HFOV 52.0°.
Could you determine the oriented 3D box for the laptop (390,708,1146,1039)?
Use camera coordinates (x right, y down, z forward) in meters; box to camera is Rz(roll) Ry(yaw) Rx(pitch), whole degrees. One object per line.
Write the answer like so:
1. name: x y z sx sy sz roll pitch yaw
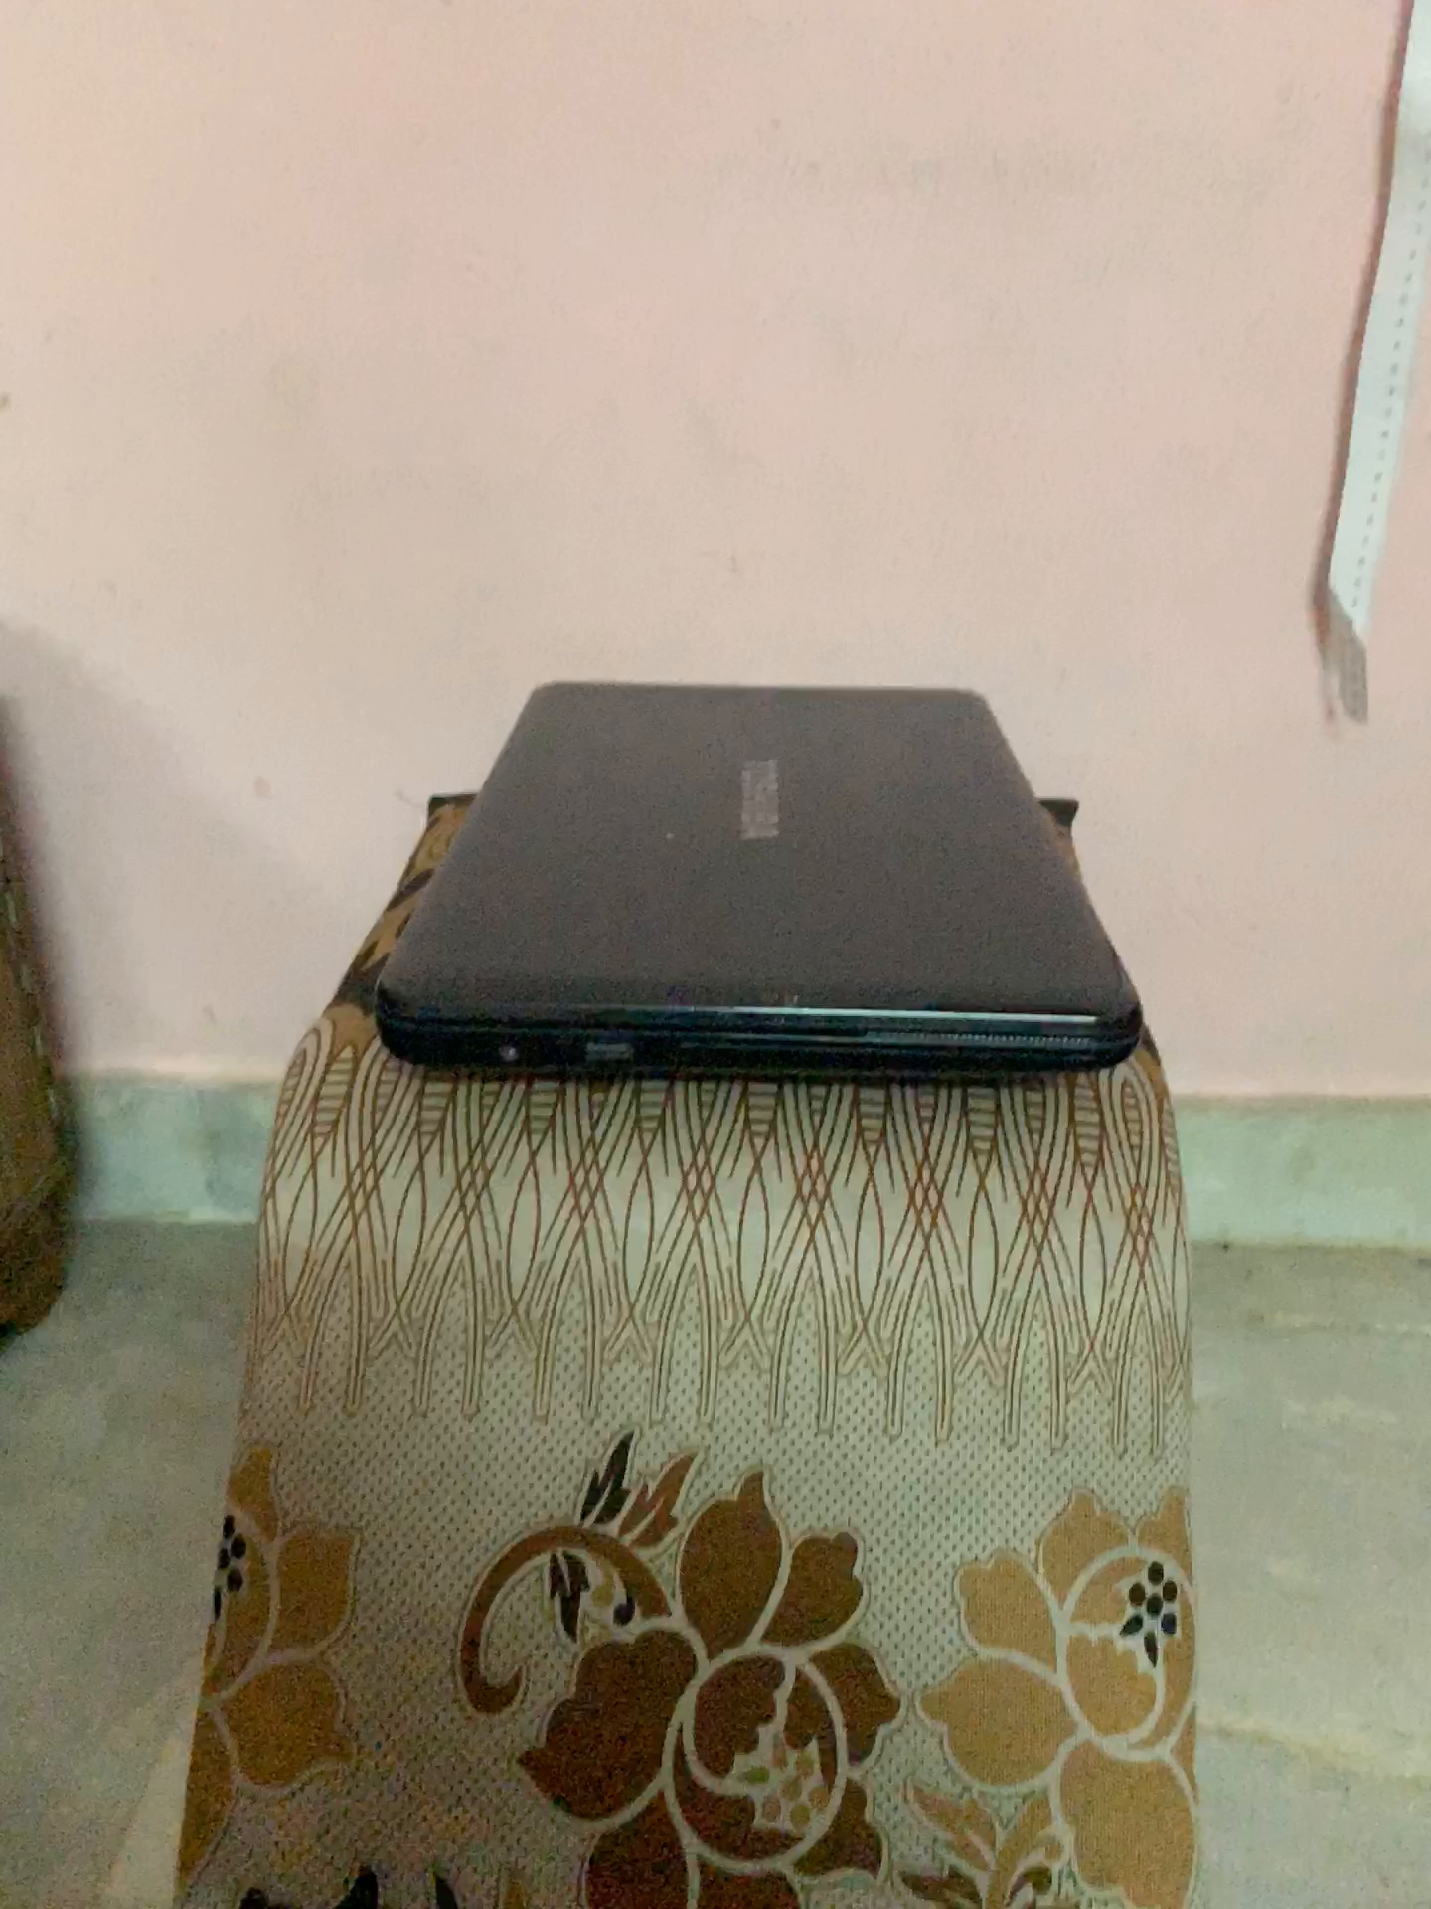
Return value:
1. laptop: 0.016 -0.053 0.601 0.222 0.001 0.372 0 24 1
